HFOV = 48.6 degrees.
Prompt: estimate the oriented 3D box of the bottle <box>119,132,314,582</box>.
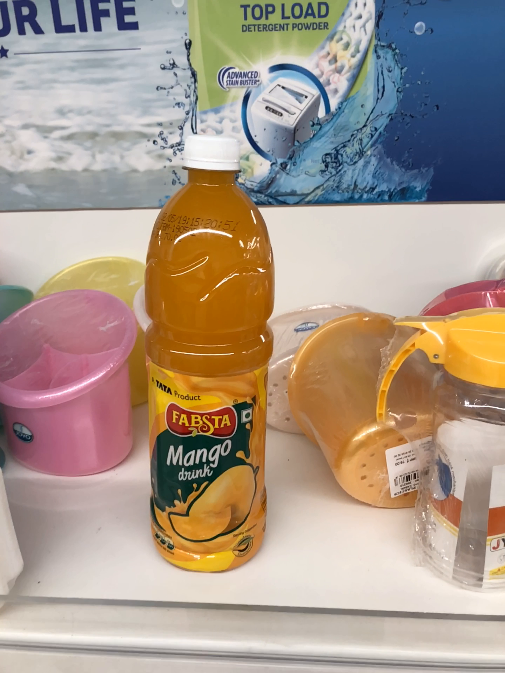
[{"bbox_3d":[-0.023,0.016,0.342,0.090,0.259,0.080,3,21,0],"label":"bottle"}]
